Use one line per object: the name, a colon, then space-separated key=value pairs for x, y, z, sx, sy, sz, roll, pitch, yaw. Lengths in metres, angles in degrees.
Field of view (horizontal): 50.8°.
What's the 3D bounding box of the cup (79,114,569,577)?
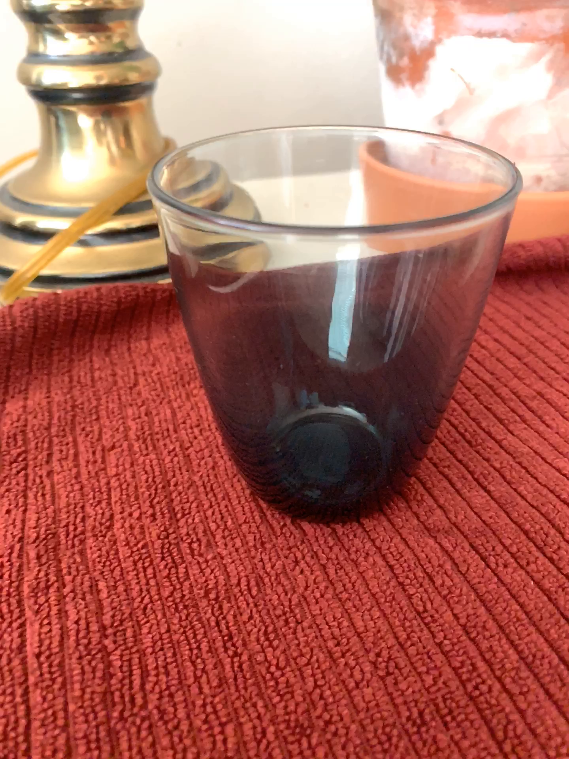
cup: x=0.011 y=-0.021 z=0.156 sx=0.087 sy=0.070 sz=0.084 roll=0 pitch=33 yaw=0
